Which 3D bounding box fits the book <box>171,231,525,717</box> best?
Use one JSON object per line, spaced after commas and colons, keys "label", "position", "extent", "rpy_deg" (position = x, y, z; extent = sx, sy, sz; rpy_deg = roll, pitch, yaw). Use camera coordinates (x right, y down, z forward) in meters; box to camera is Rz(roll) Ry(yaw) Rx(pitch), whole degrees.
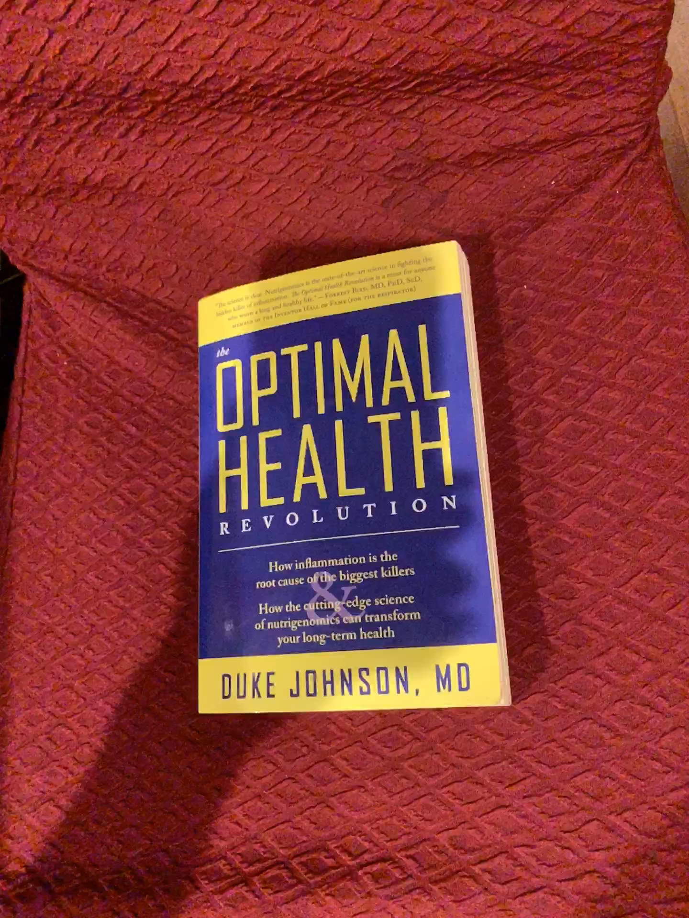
{"label": "book", "position": [-0.003, 0.013, 0.370], "extent": [0.161, 0.060, 0.222], "rpy_deg": [-7, 76, 18]}
